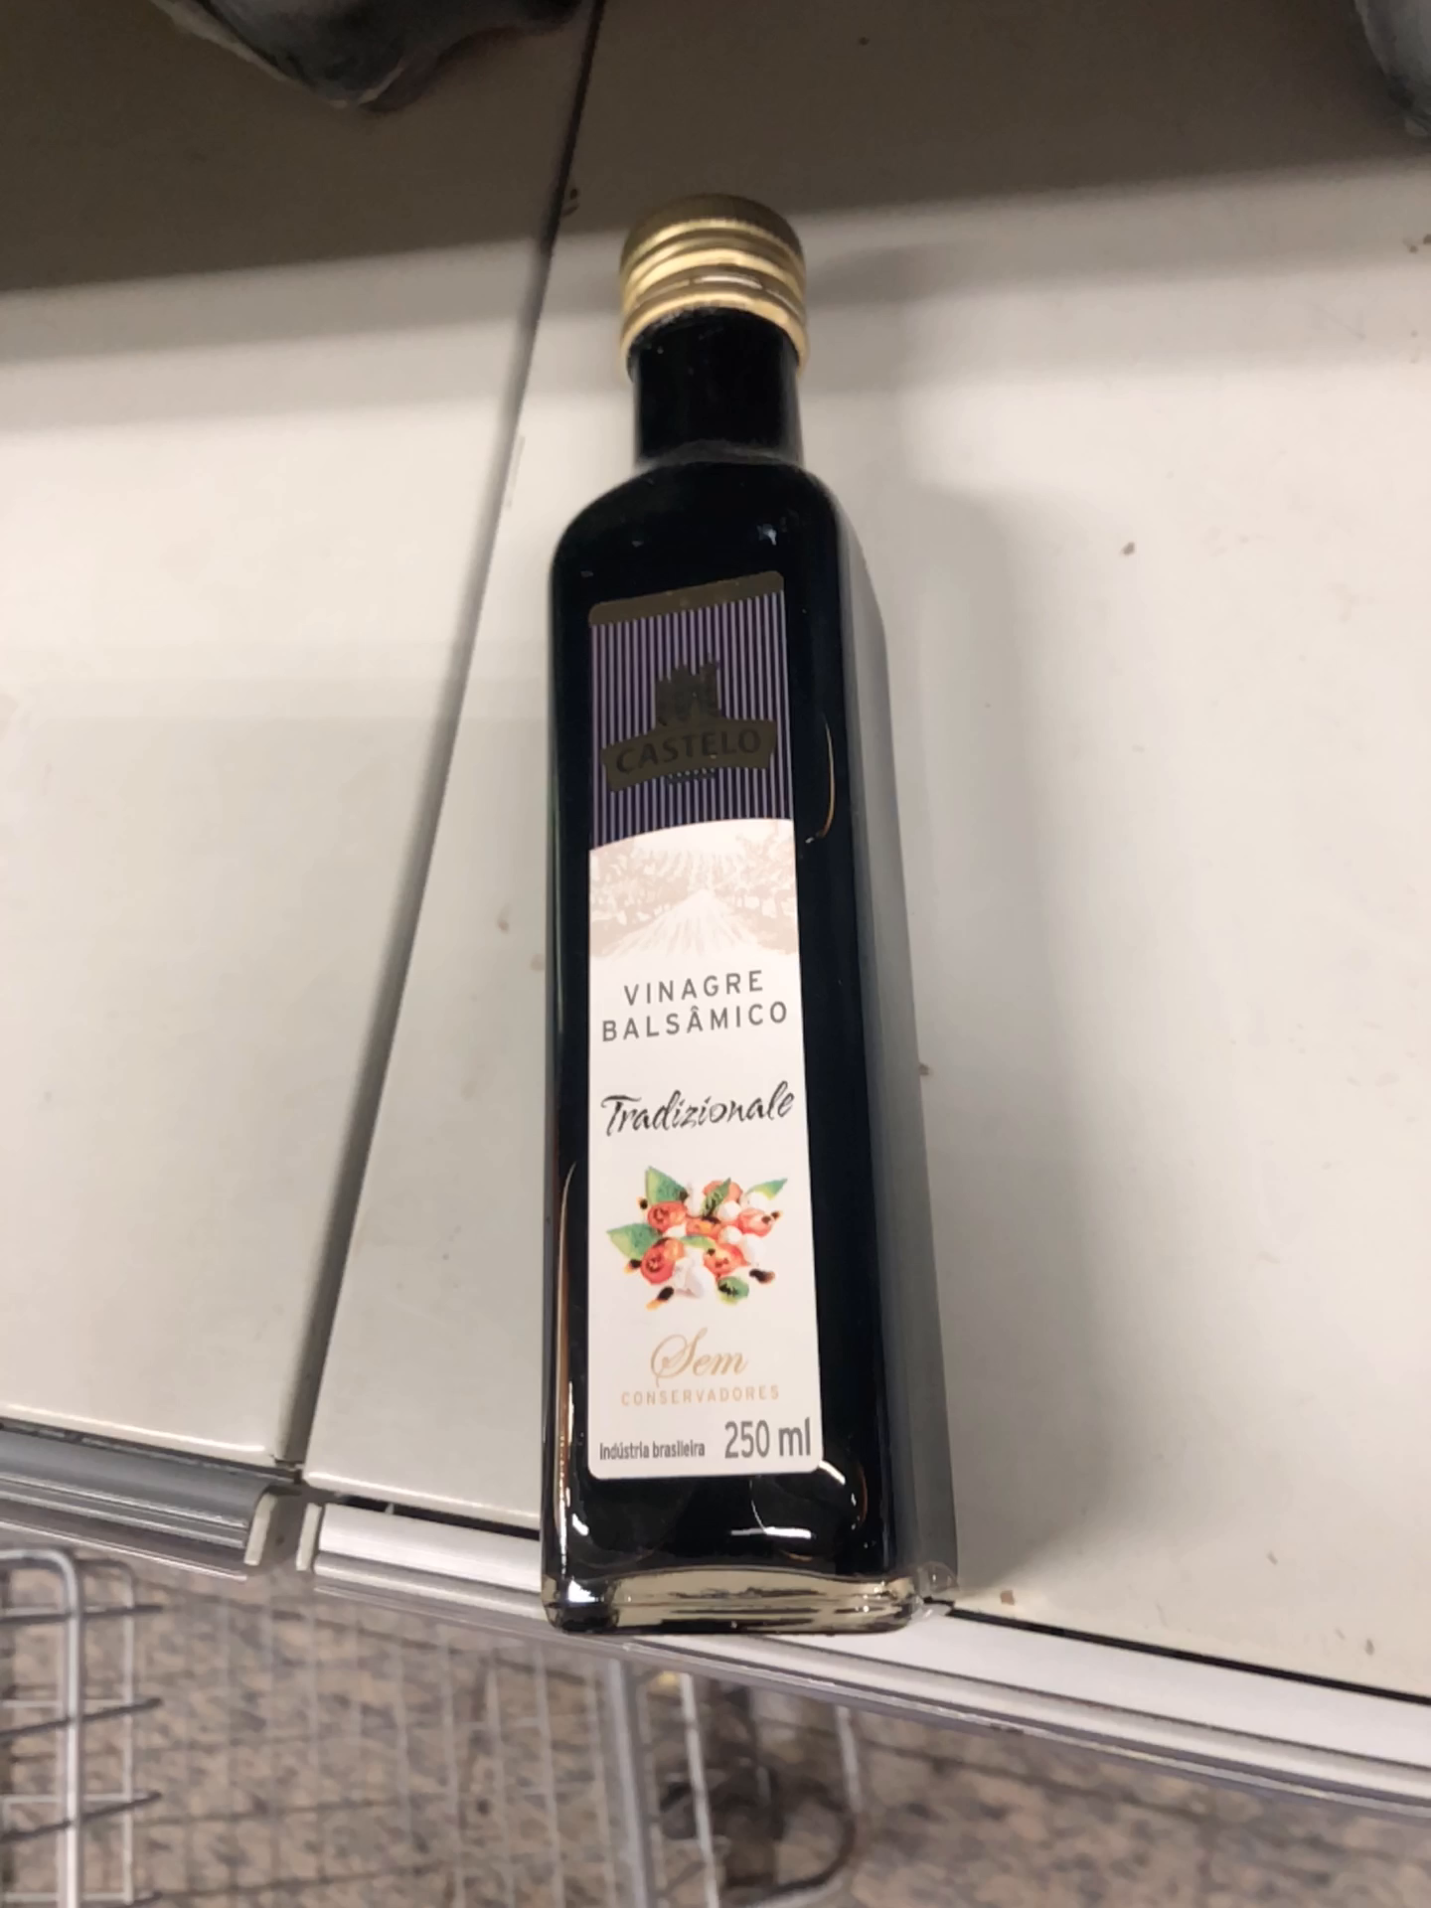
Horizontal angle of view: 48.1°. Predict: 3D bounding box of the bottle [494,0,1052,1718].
[{"bbox_3d":[0.007,-0.026,0.245,0.060,0.060,0.250,-6,73,15],"label":"bottle"}]
